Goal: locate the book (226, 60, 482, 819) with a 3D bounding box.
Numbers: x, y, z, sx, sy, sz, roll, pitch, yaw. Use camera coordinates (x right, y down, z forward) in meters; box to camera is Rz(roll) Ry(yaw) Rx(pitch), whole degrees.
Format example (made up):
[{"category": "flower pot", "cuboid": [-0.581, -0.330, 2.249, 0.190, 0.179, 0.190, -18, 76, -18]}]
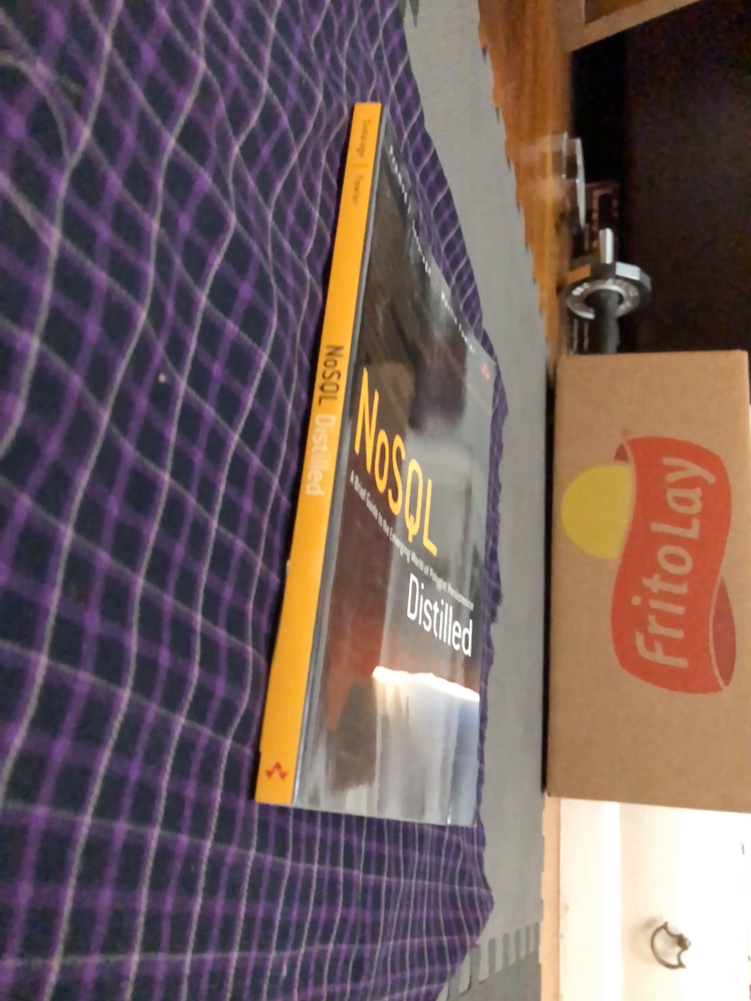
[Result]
[{"category": "book", "cuboid": [0.011, -0.007, 0.340, 0.191, 0.020, 0.250, 51, 41, -61]}]
